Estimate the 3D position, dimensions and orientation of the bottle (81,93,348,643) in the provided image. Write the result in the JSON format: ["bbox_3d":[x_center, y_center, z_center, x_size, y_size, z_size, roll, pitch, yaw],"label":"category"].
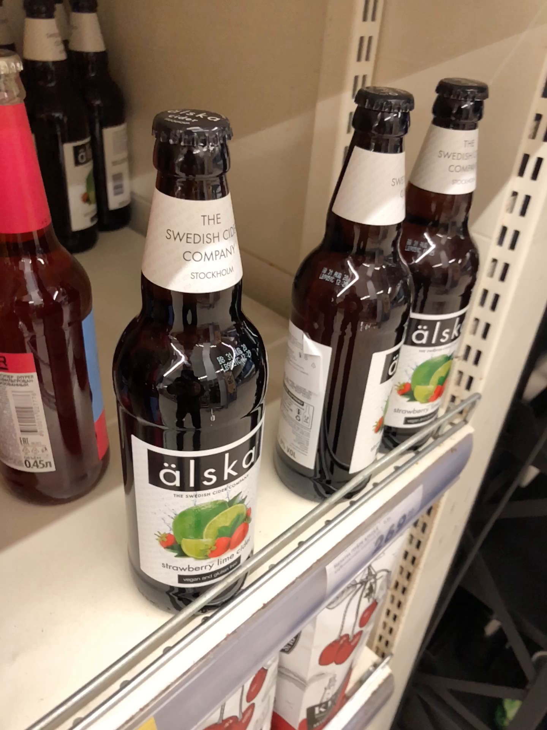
[{"bbox_3d":[-0.031,0.013,0.275,0.070,0.239,0.070,3,34,-2],"label":"bottle"}]
